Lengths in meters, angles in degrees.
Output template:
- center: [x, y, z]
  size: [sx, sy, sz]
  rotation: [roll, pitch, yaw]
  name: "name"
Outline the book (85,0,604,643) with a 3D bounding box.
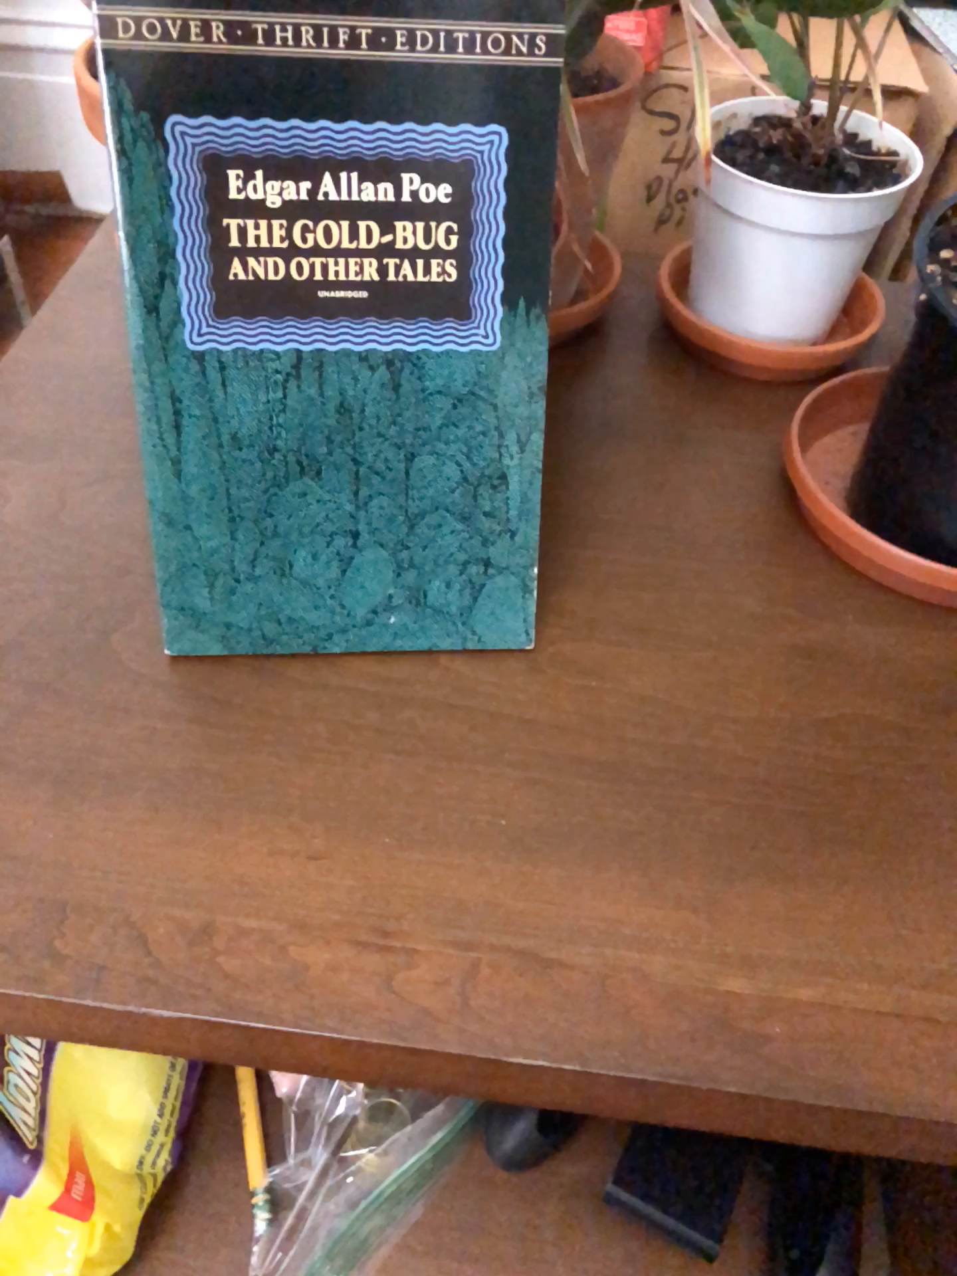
- center: [-0.038, -0.099, 0.341]
  size: [0.140, 0.209, 0.020]
  rotation: [-1, 25, -6]
  name: "book"
